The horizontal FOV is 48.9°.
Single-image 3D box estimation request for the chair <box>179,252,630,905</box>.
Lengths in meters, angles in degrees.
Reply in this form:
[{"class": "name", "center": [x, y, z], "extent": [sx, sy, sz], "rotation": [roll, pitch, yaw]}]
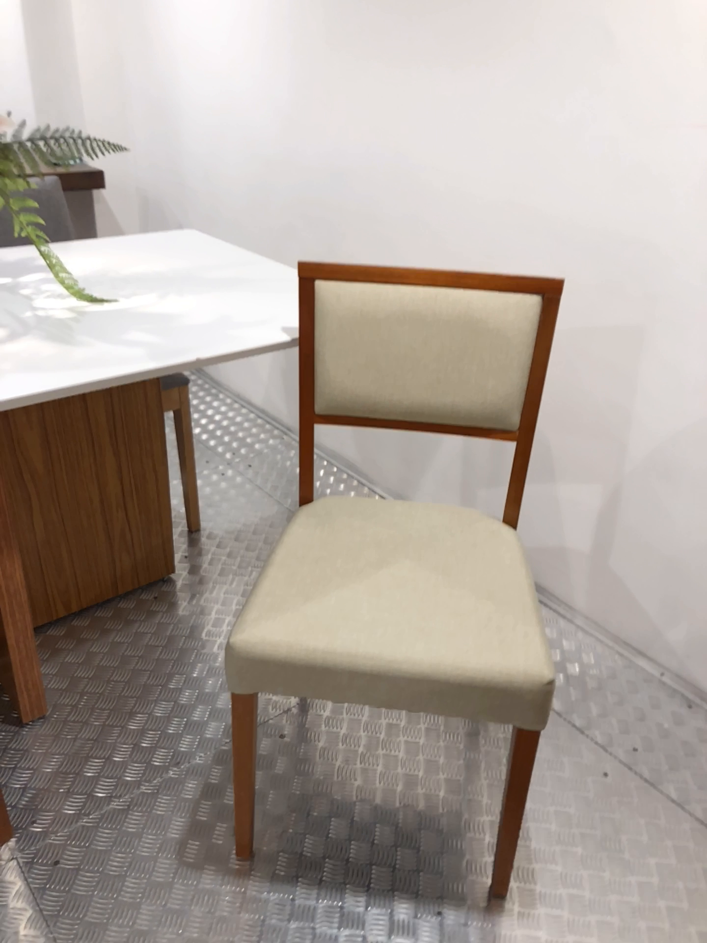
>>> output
[{"class": "chair", "center": [0.074, 0.152, 1.376], "extent": [0.520, 0.893, 0.625], "rotation": [5, 28, 5]}]
